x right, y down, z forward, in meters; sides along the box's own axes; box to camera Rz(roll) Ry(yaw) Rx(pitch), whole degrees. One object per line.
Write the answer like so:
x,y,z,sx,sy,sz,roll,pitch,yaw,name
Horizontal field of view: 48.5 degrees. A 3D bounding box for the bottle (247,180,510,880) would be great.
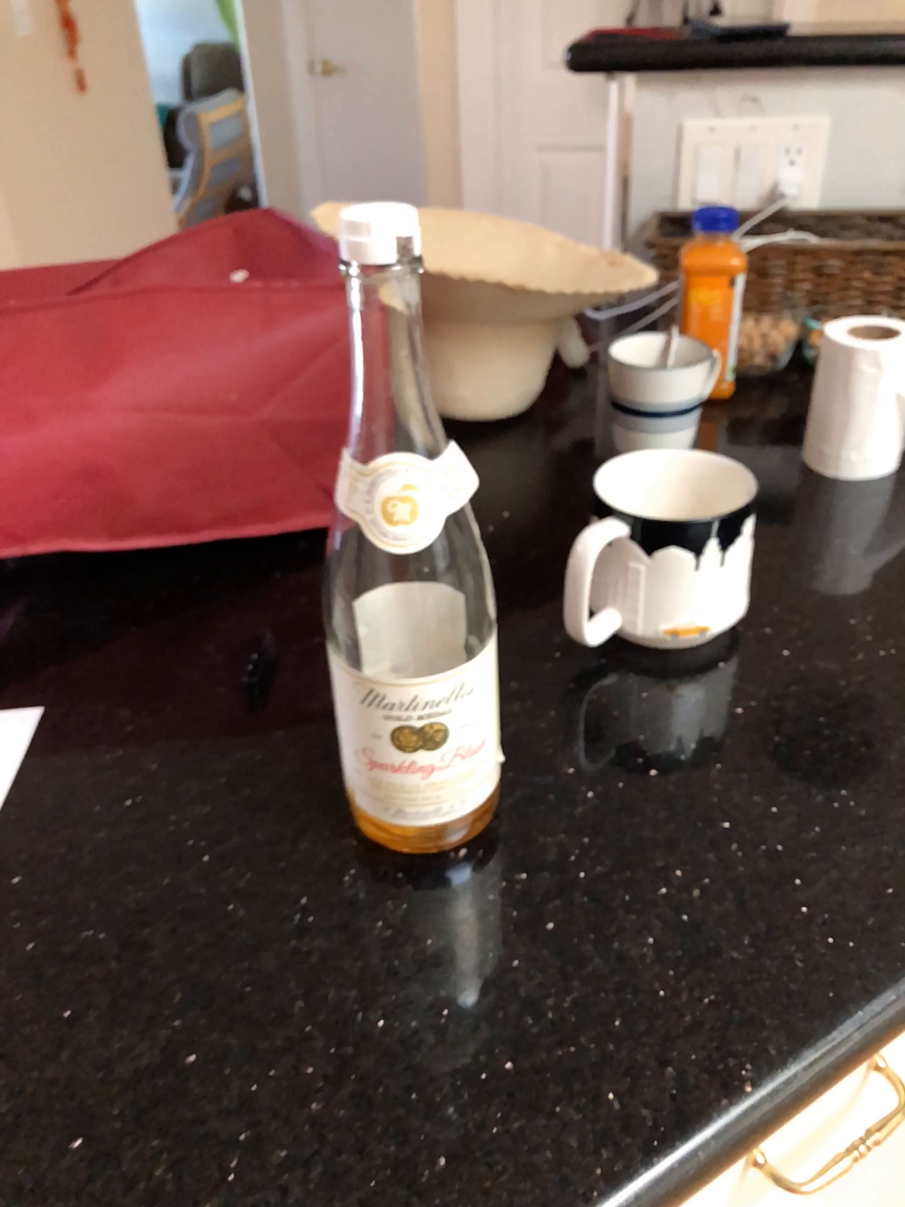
-0.022,-0.018,0.488,0.093,0.330,0.101,-2,34,1,bottle
